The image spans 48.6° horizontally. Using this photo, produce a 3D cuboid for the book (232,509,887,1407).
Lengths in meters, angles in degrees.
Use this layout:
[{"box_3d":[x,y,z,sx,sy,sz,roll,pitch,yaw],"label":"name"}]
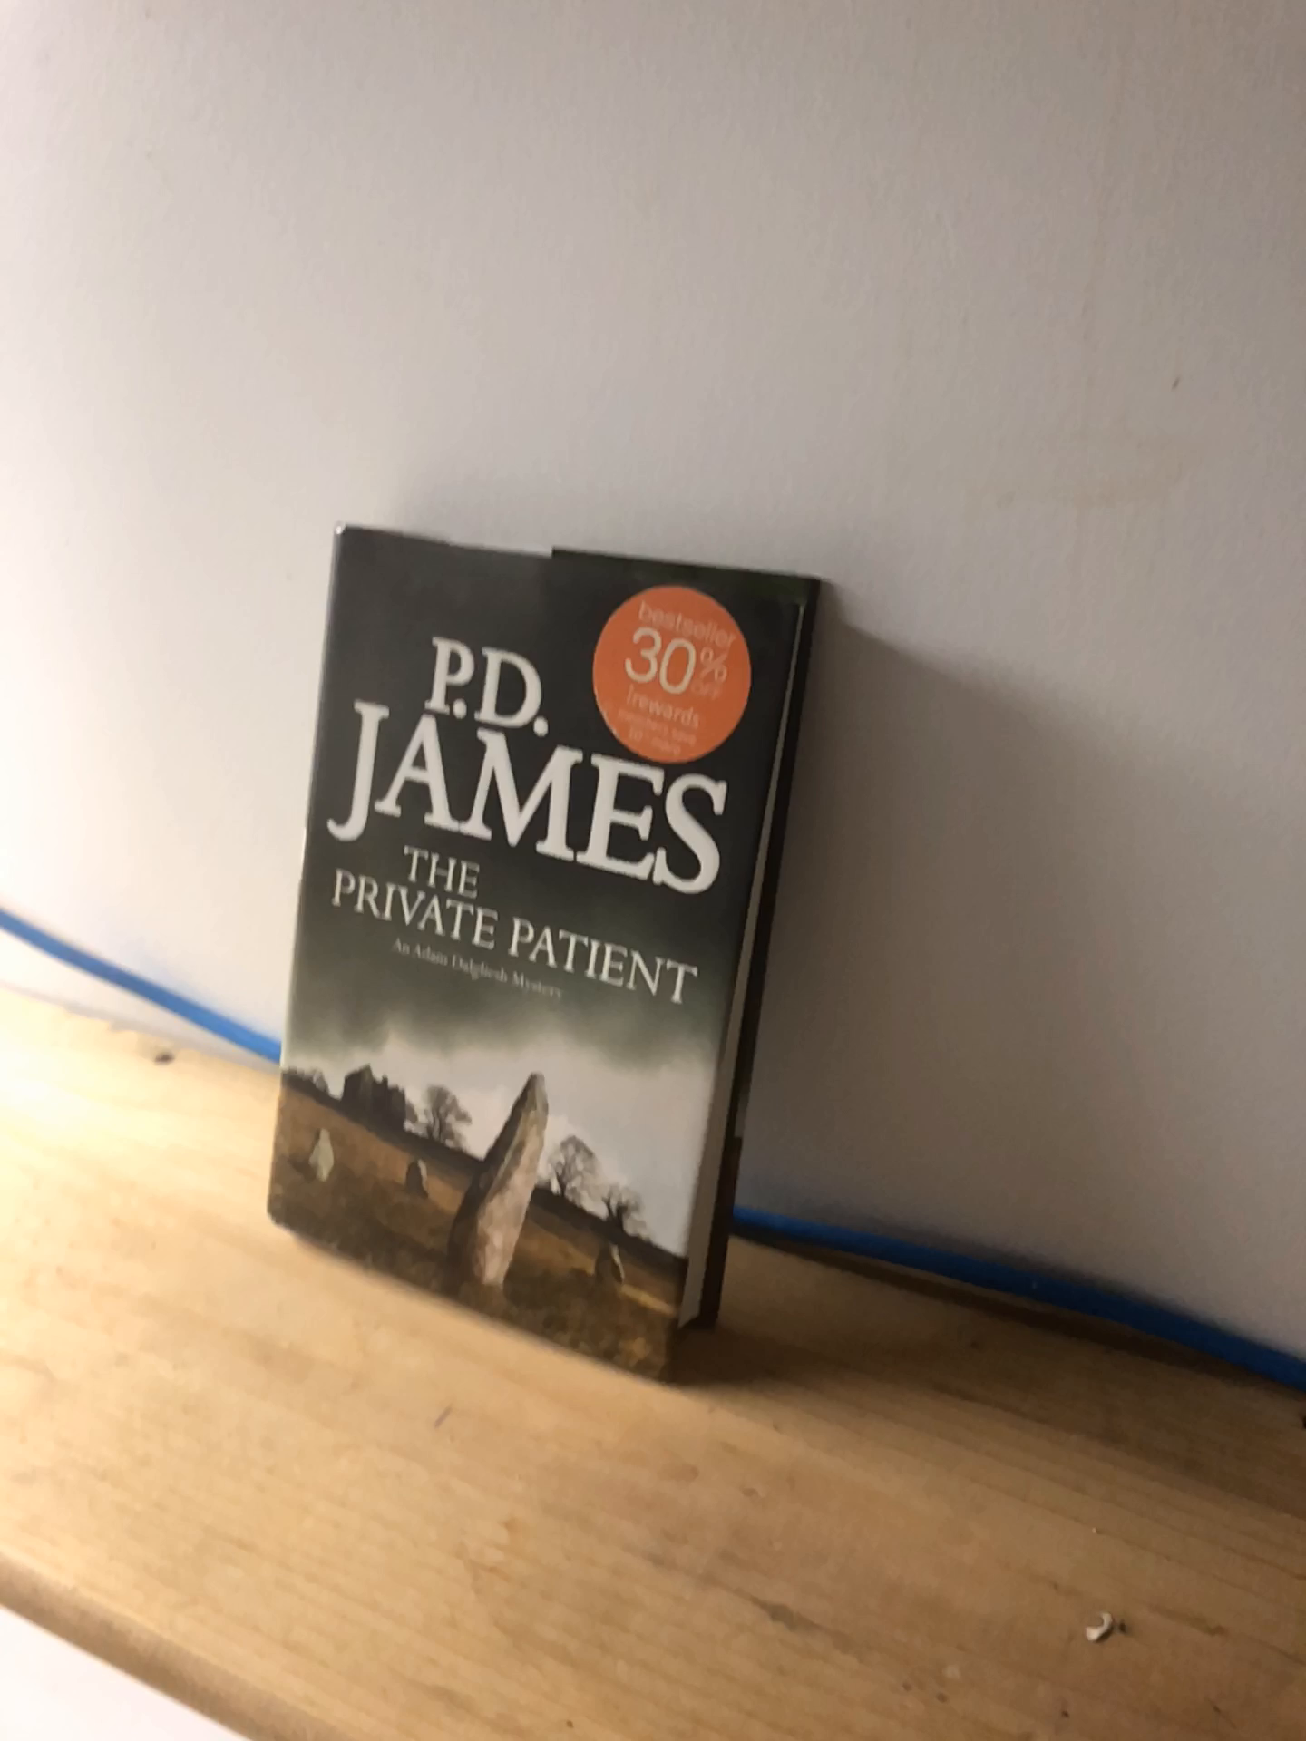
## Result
[{"box_3d":[-0.039,0.017,0.445,0.180,0.229,0.040,14,11,29],"label":"book"}]
